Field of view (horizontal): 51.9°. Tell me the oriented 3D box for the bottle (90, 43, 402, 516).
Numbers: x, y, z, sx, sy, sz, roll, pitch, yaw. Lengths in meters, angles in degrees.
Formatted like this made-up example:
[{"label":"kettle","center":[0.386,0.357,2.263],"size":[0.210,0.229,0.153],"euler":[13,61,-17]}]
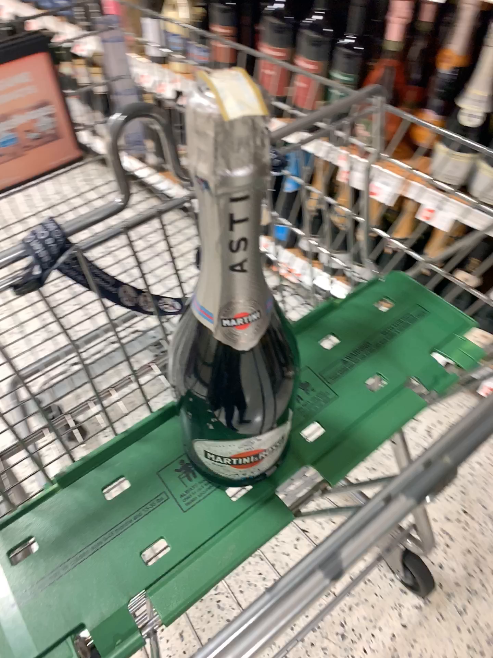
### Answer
[{"label":"bottle","center":[-0.005,0.005,0.308],"size":[0.100,0.287,0.101],"euler":[-1,52,1]}]
